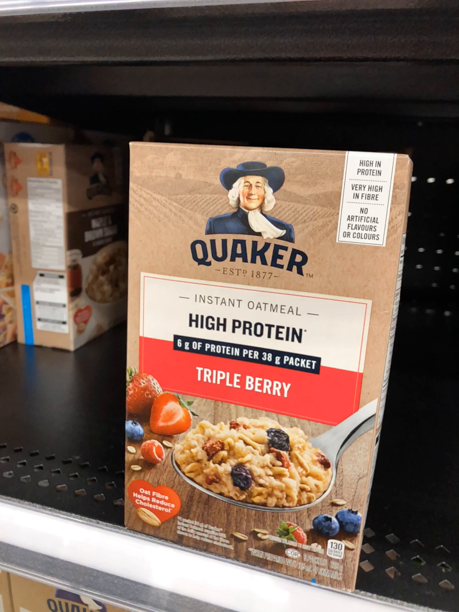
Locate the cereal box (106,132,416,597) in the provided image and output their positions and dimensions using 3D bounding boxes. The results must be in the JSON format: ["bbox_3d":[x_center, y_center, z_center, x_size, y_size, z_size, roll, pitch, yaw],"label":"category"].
[{"bbox_3d":[0.013,0.020,0.263,0.130,0.199,0.070,7,14,17],"label":"cereal box"}]
